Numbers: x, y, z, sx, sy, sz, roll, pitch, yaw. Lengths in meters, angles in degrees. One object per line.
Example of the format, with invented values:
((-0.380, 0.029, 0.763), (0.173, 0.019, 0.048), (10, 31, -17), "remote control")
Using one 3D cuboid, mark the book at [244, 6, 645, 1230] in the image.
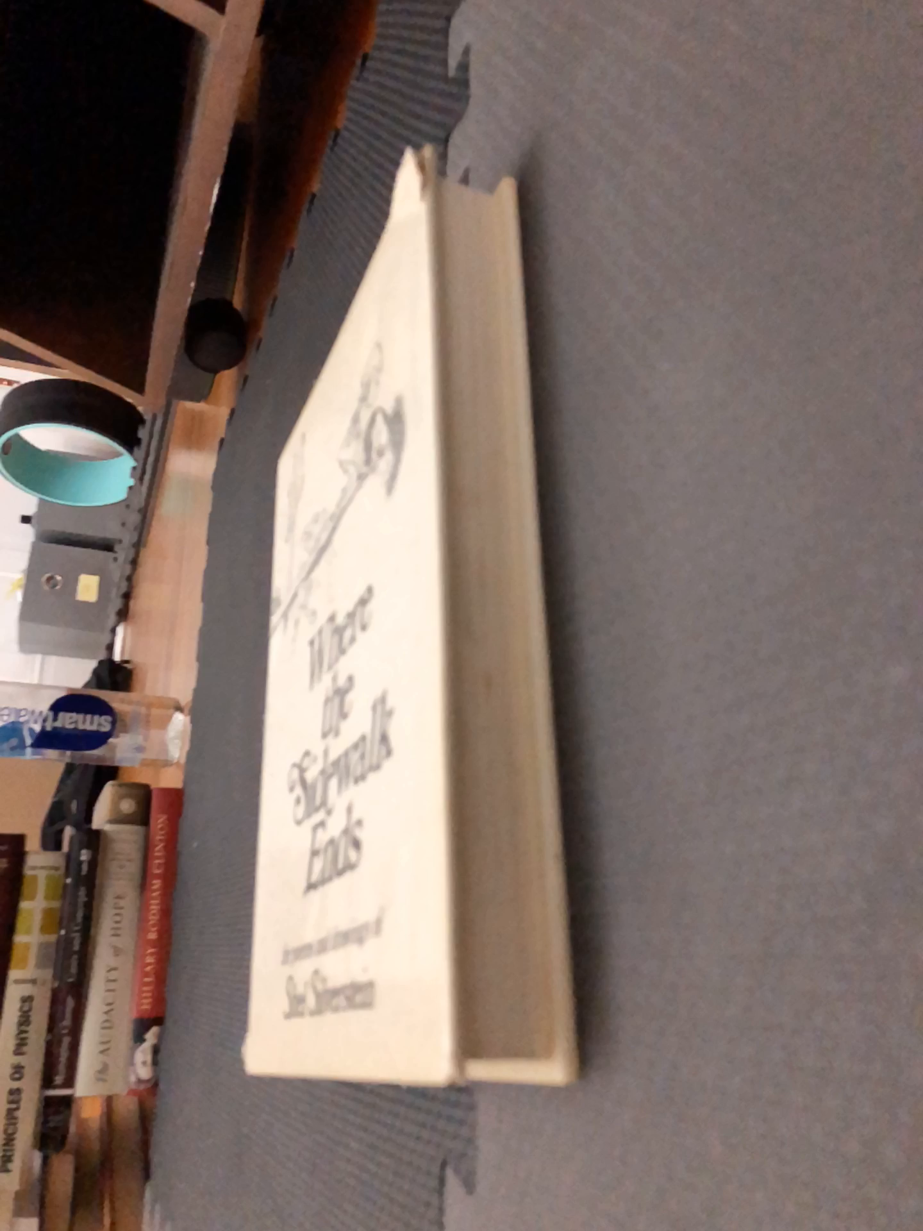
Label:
((-0.021, 0.007, 0.303), (0.200, 0.030, 0.280), (136, 138, -59), "book")
